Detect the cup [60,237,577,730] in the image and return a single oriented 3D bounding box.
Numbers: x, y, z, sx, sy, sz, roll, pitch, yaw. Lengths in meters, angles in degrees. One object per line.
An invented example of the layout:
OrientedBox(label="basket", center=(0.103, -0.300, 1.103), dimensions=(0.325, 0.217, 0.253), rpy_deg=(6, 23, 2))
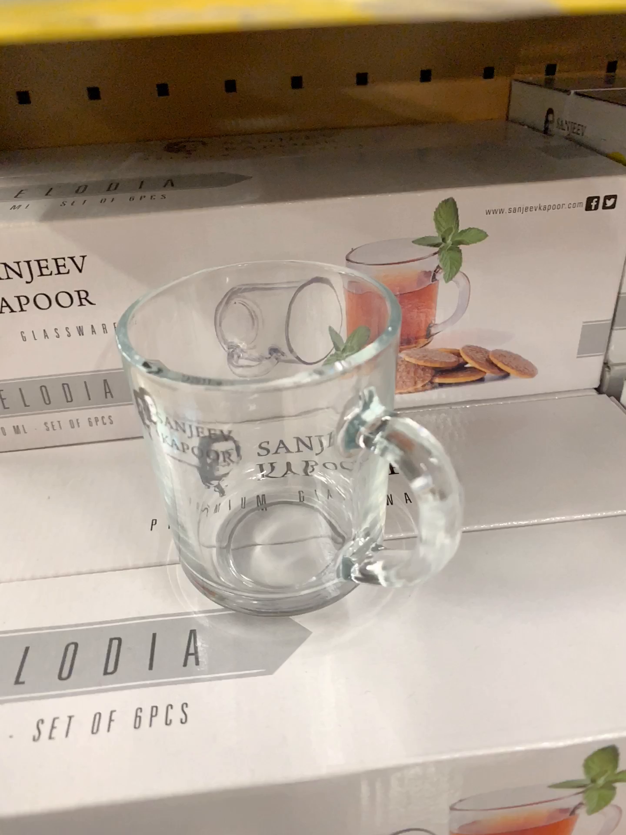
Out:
OrientedBox(label="cup", center=(0.003, 0.008, 0.174), dimensions=(0.100, 0.080, 0.070), rpy_deg=(17, 37, 27))
